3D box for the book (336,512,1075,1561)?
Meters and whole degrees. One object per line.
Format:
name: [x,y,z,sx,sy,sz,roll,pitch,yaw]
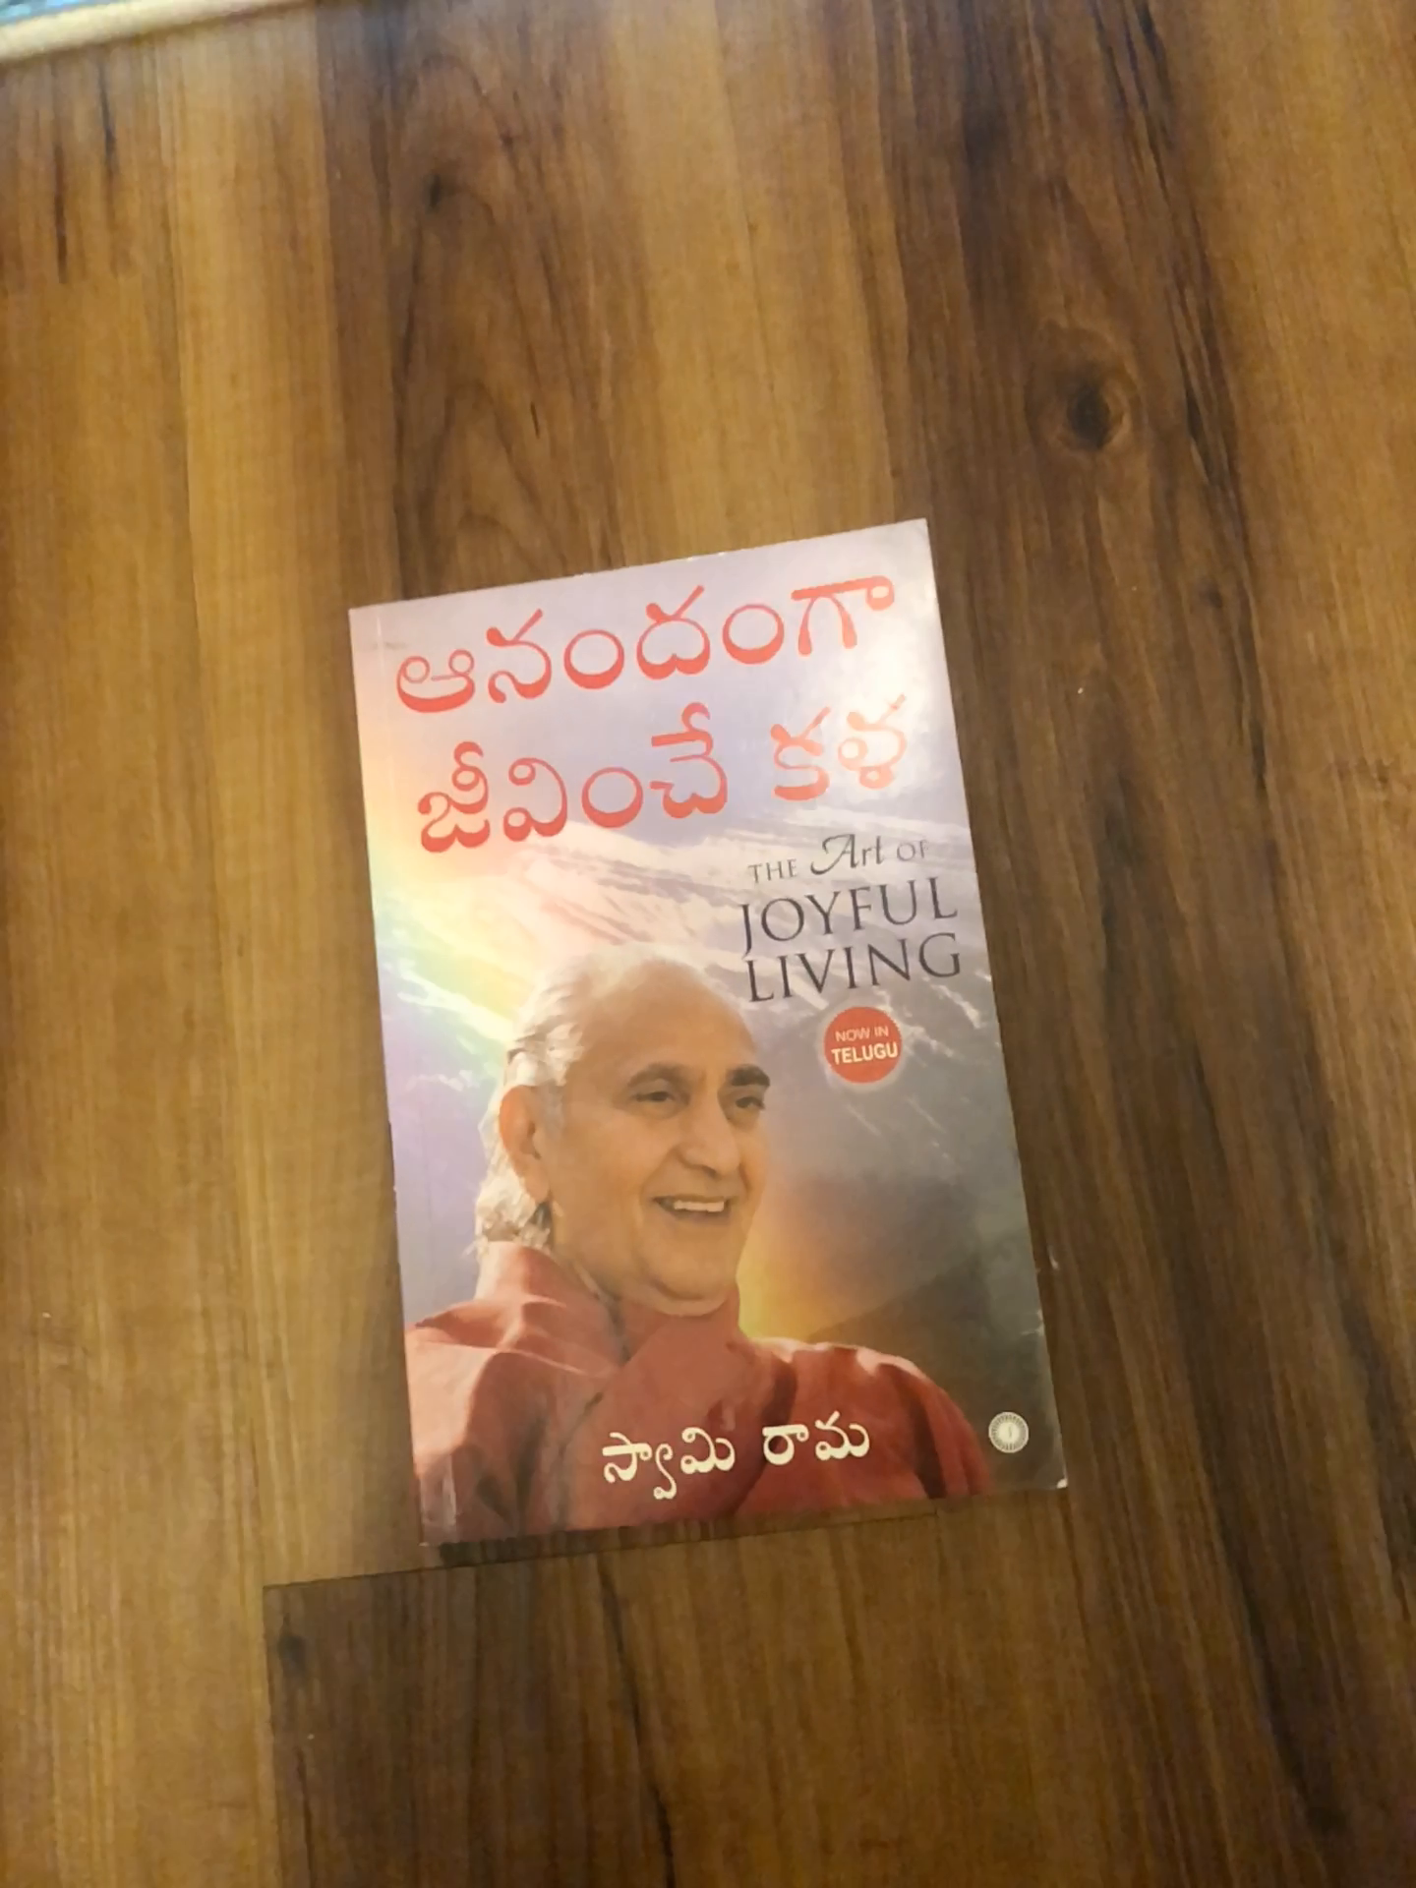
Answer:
book: [-0.005,0.019,0.361,0.144,0.020,0.219,-7,81,7]
